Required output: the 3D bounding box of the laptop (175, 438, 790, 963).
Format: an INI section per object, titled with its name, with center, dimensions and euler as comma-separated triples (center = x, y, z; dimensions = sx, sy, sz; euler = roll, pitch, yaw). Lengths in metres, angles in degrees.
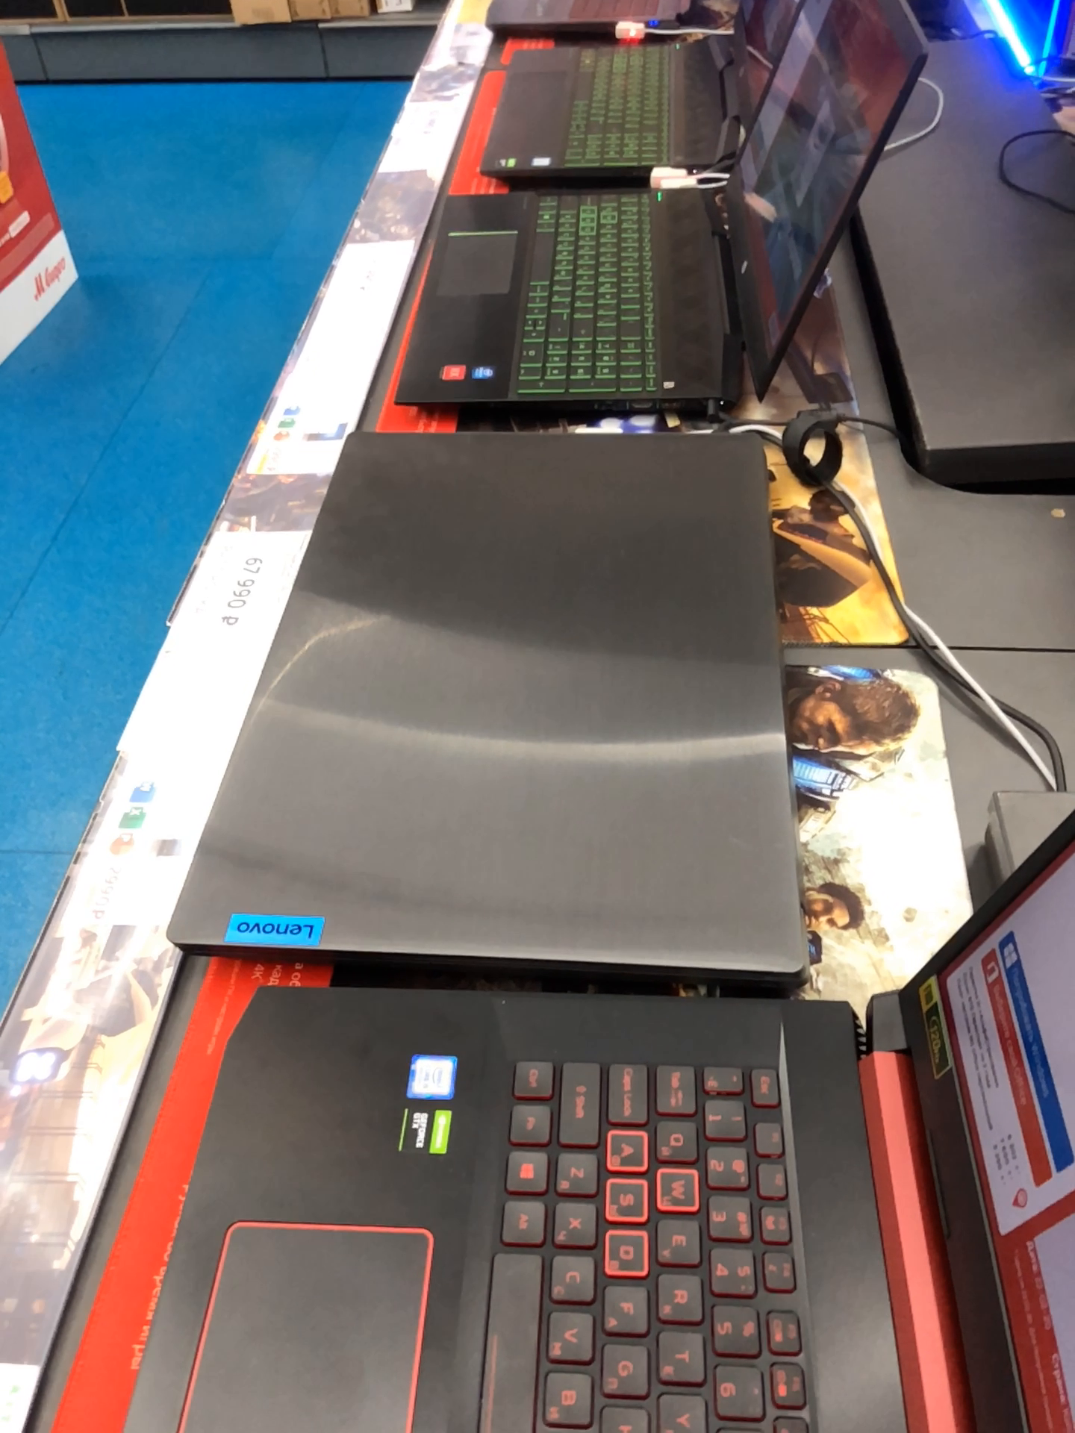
[laptop]
center = -0.006, -0.041, 0.644
dimensions = 0.268, 0.002, 0.391
euler = 2, 46, 6
